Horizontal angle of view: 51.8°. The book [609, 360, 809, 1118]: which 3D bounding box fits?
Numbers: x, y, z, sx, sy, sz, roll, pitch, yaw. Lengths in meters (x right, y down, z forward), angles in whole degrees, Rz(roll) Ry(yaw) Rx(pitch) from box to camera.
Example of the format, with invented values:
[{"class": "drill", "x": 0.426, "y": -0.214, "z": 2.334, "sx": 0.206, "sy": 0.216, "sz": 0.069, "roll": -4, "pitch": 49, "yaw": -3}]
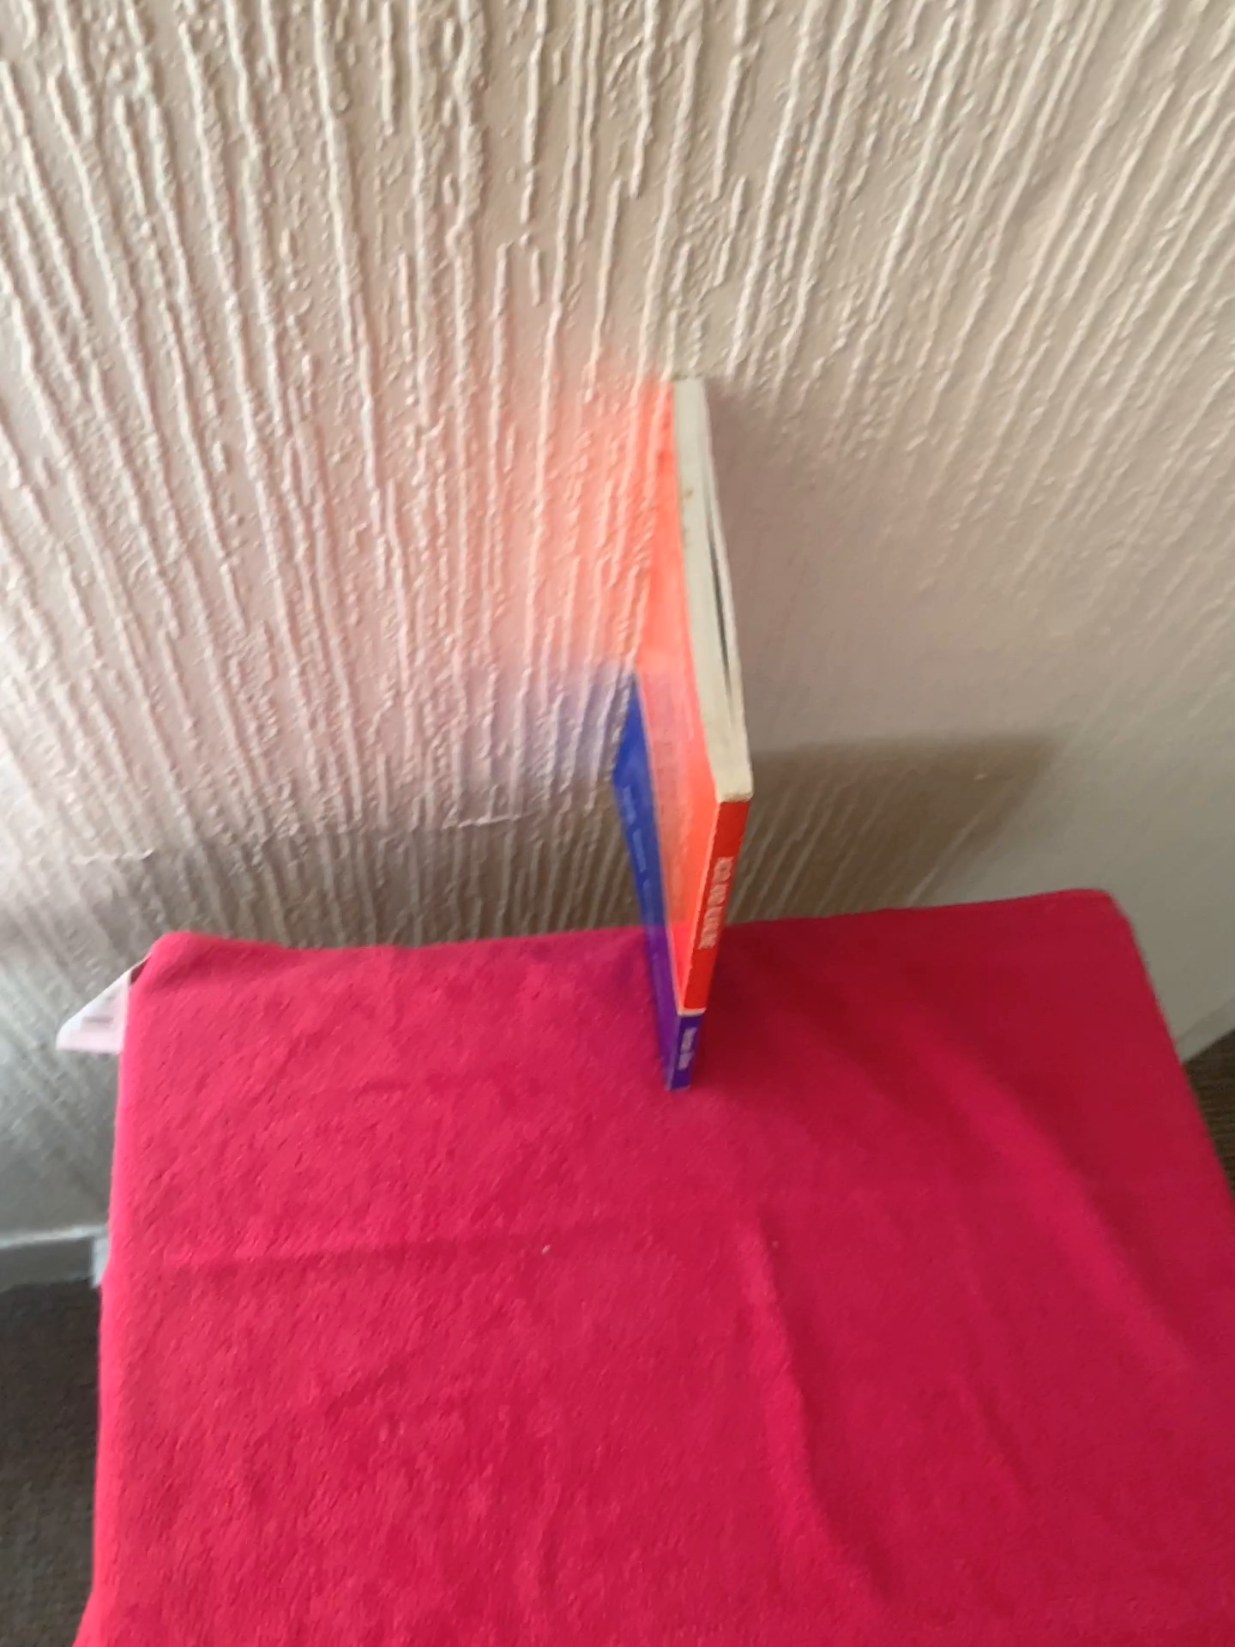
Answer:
[{"class": "book", "x": 0.019, "y": -0.011, "z": 0.404, "sx": 0.020, "sy": 0.209, "sz": 0.151, "roll": -5, "pitch": 61, "yaw": -5}]
